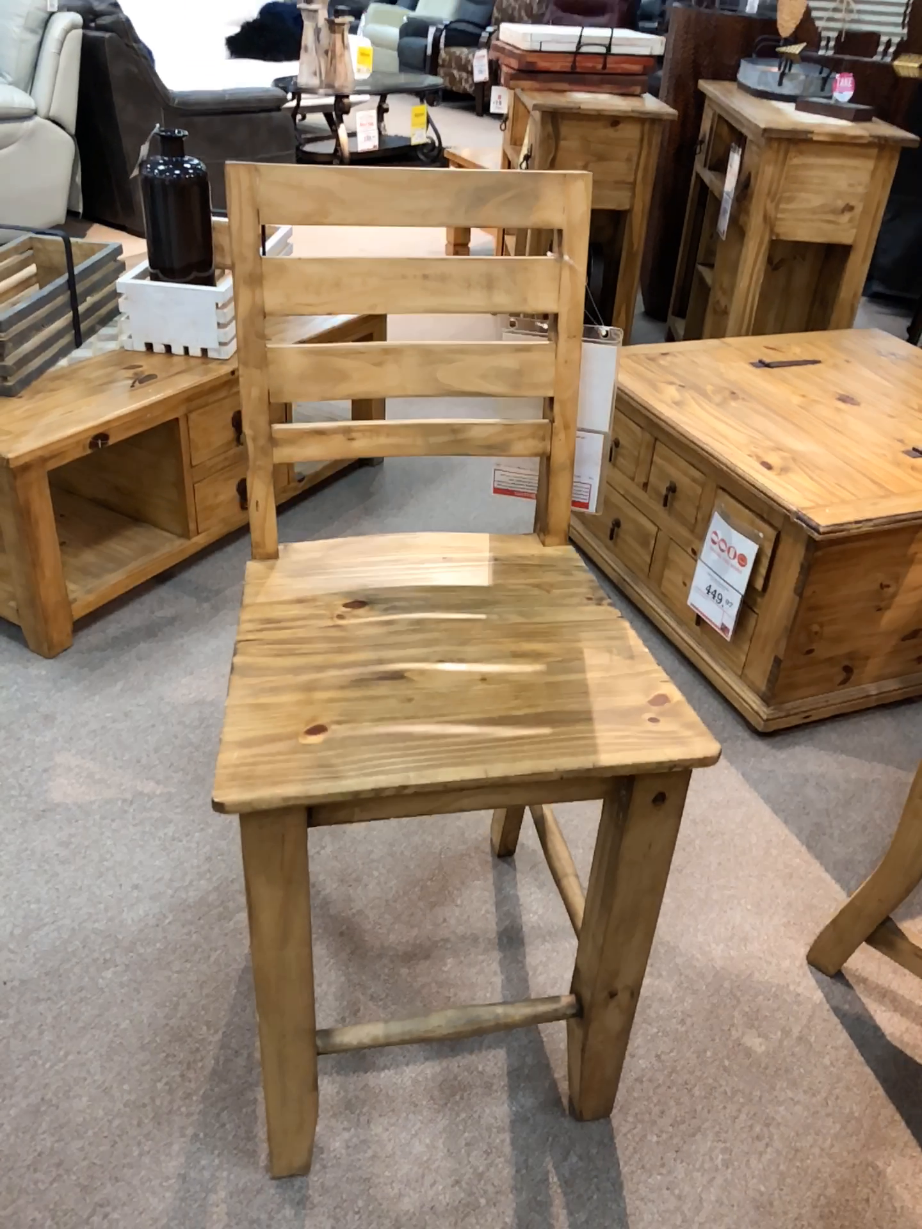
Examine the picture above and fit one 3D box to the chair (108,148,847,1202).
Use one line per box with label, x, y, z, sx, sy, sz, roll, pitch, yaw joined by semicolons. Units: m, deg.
chair;-0.047;0.083;1.116;0.470;1.013;0.523;-4;34;-11
